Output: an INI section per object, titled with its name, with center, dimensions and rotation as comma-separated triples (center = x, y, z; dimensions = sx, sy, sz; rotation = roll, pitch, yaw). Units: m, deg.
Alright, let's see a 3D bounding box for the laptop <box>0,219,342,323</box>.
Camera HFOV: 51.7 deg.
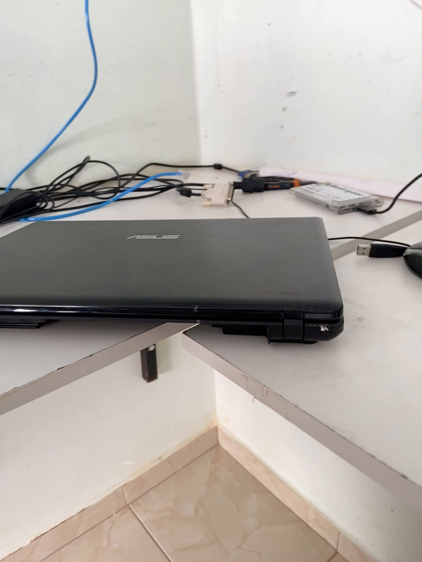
[laptop]
center = -0.076, -0.024, 0.451
dimensions = 0.380, 0.010, 0.254
rotation = 0, 22, 11
